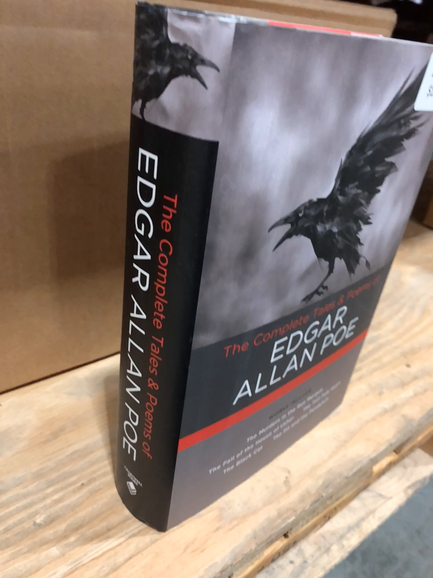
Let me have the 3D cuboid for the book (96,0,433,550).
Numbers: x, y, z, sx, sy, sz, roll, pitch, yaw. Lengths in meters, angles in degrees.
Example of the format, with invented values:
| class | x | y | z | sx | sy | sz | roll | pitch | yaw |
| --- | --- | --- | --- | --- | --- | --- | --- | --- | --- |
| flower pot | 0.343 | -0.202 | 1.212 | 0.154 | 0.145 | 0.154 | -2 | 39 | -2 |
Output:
| class | x | y | z | sx | sy | sz | roll | pitch | yaw |
| --- | --- | --- | --- | --- | --- | --- | --- | --- | --- |
| book | 0.029 | -0.004 | 0.258 | 0.172 | 0.240 | 0.054 | -20 | 42 | -40 |
